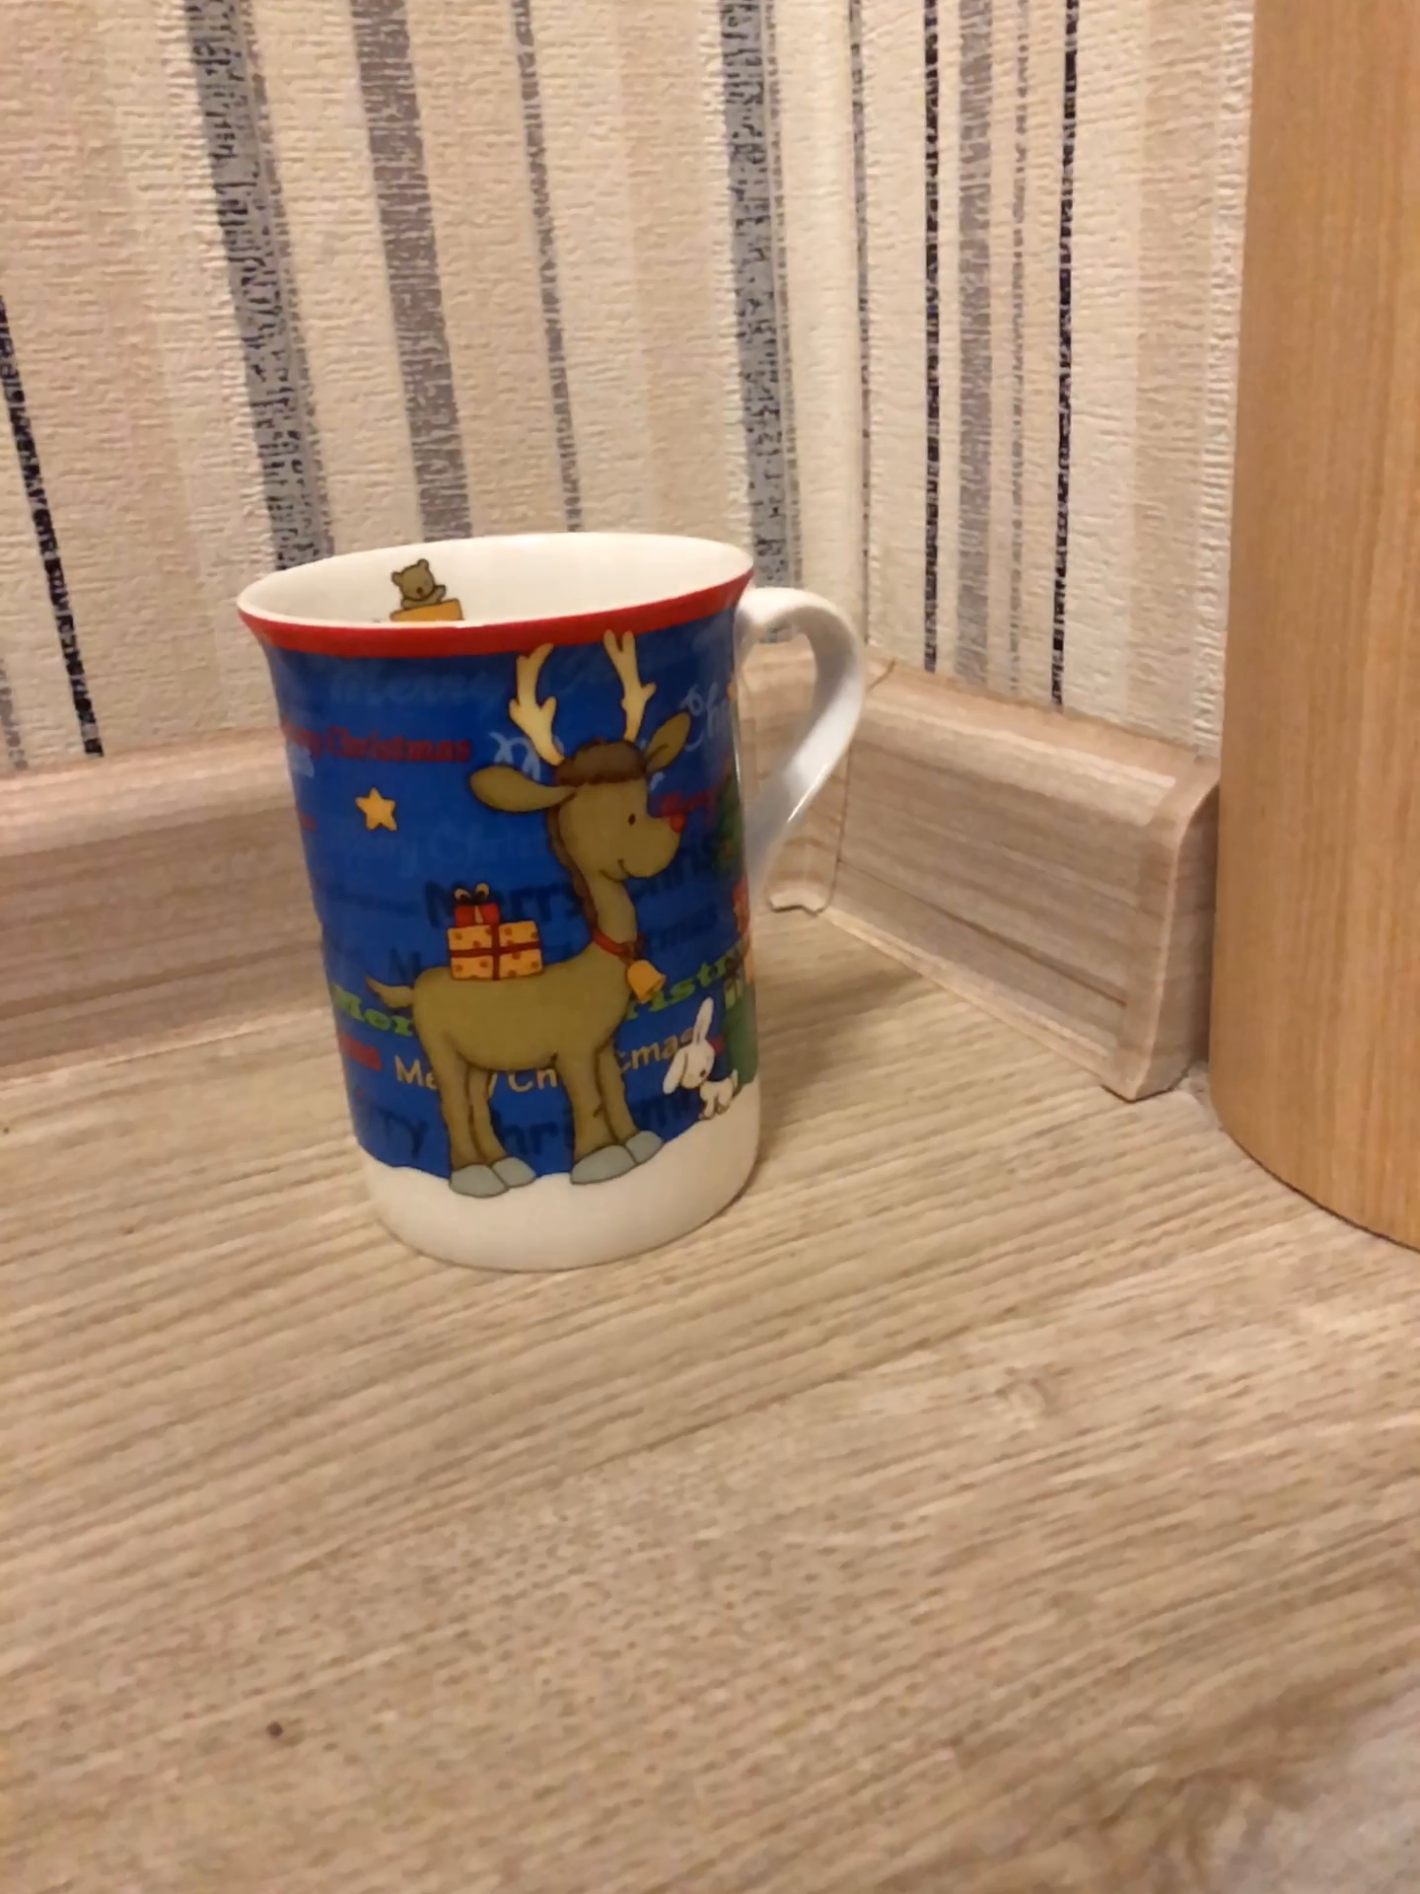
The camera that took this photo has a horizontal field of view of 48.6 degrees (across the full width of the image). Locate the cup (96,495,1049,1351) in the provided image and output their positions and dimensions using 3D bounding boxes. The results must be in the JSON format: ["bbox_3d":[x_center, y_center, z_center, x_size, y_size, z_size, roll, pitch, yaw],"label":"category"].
[{"bbox_3d":[-0.018,-0.017,0.261,0.121,0.094,0.087,-19,26,-32],"label":"cup"}]
